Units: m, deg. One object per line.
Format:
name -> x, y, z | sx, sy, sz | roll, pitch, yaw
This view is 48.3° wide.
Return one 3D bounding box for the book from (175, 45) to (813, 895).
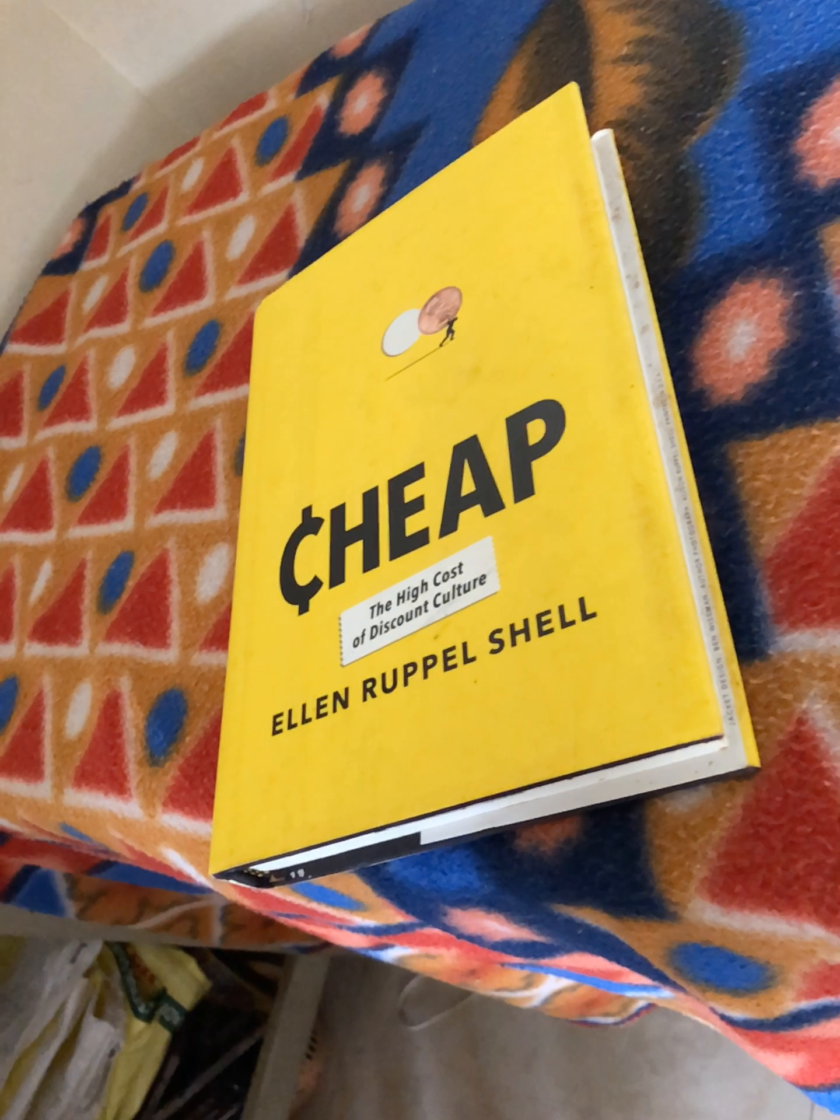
book -> 0.003, -0.034, 0.298 | 0.171, 0.030, 0.240 | -23, 52, 29
